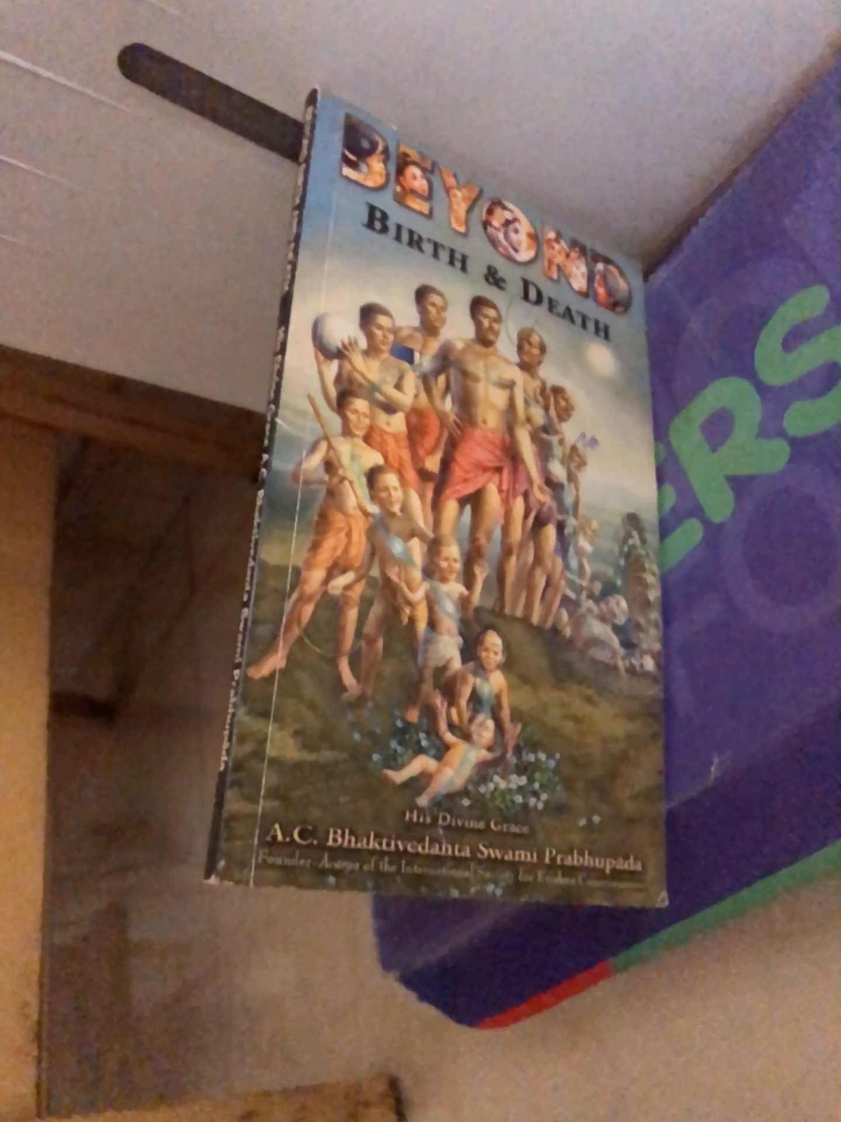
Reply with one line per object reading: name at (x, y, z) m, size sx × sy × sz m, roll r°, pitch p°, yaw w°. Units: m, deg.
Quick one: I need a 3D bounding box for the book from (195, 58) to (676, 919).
book at (0.018, -0.017, 0.234) m, size 0.010 × 0.119 × 0.190 m, roll -22°, pitch 57°, yaw 52°
